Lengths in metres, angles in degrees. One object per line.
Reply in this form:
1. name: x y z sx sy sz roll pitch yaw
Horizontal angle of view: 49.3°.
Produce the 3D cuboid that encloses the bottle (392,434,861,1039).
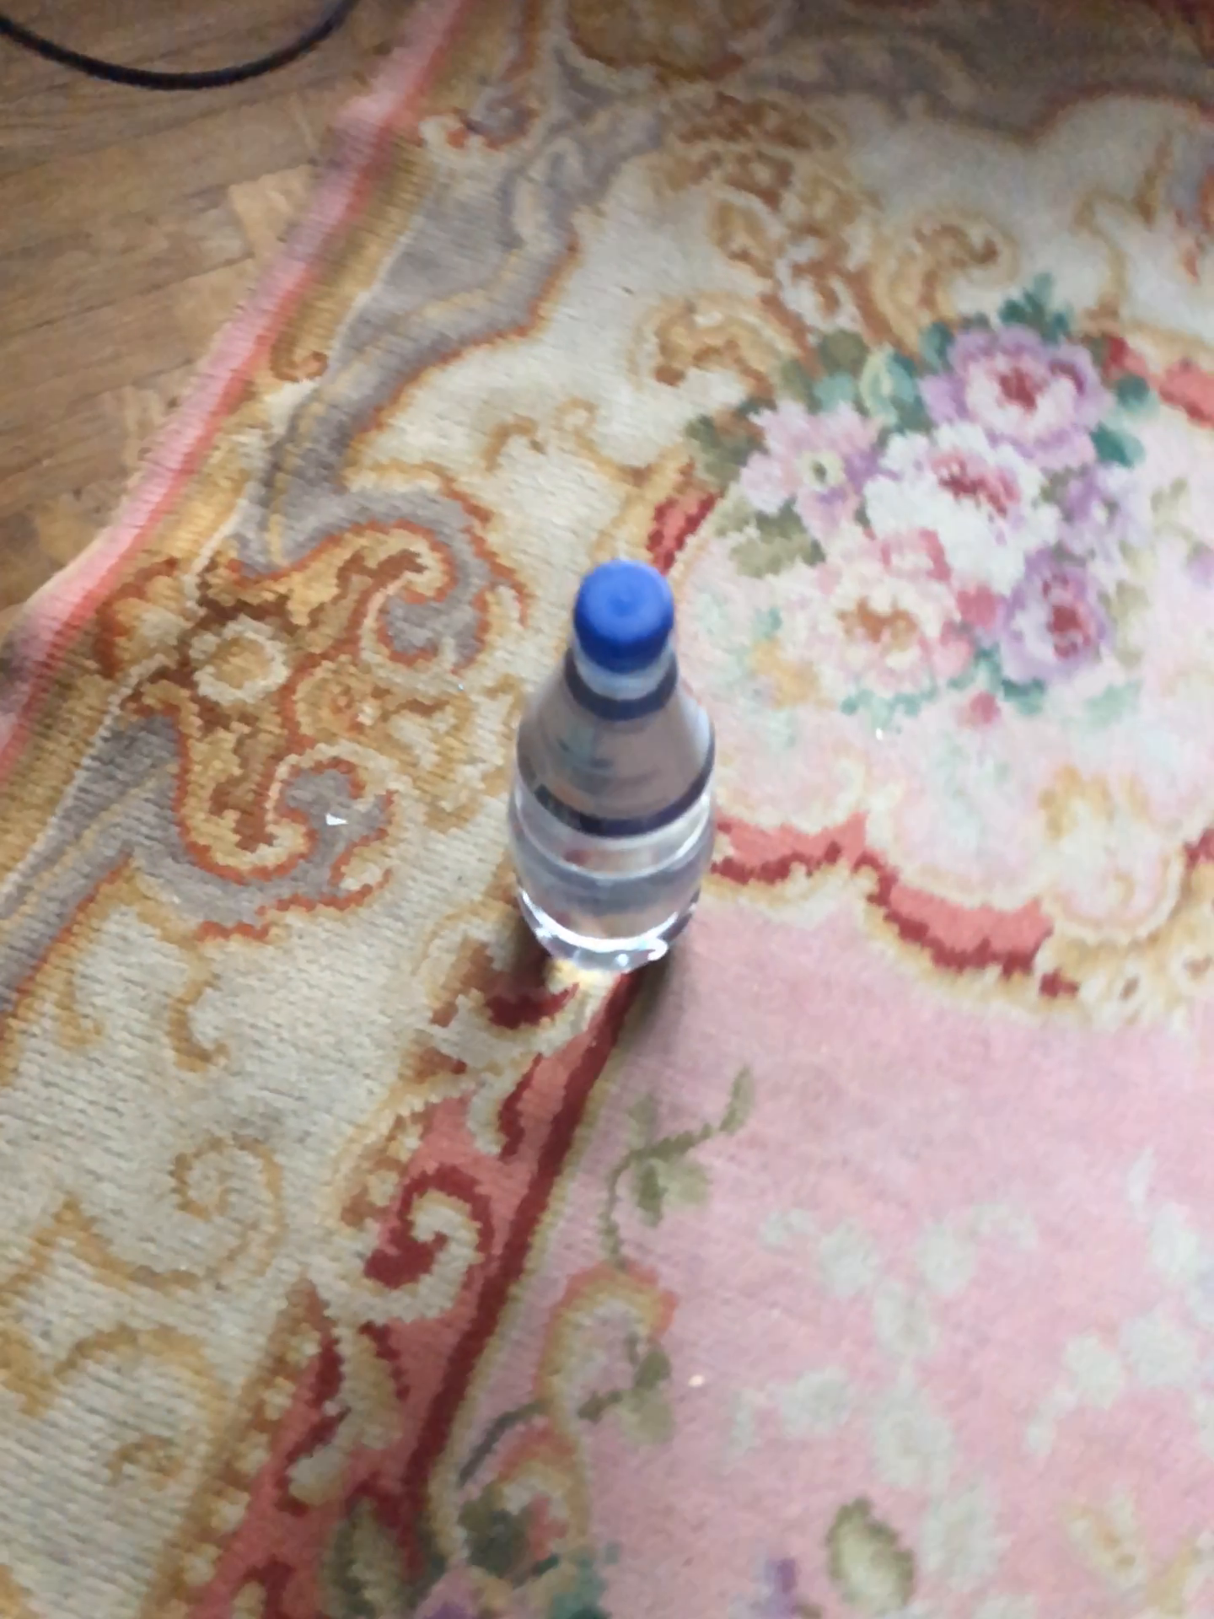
1. bottle: 0.002 -0.003 0.560 0.100 0.309 0.110 0 70 -1
